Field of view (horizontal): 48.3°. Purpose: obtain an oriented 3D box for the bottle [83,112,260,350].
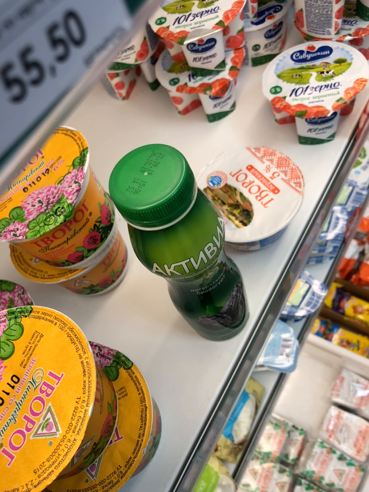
[{"bbox_3d":[0.006,0.009,0.269,0.050,0.185,0.054,-6,61,12],"label":"bottle"}]
